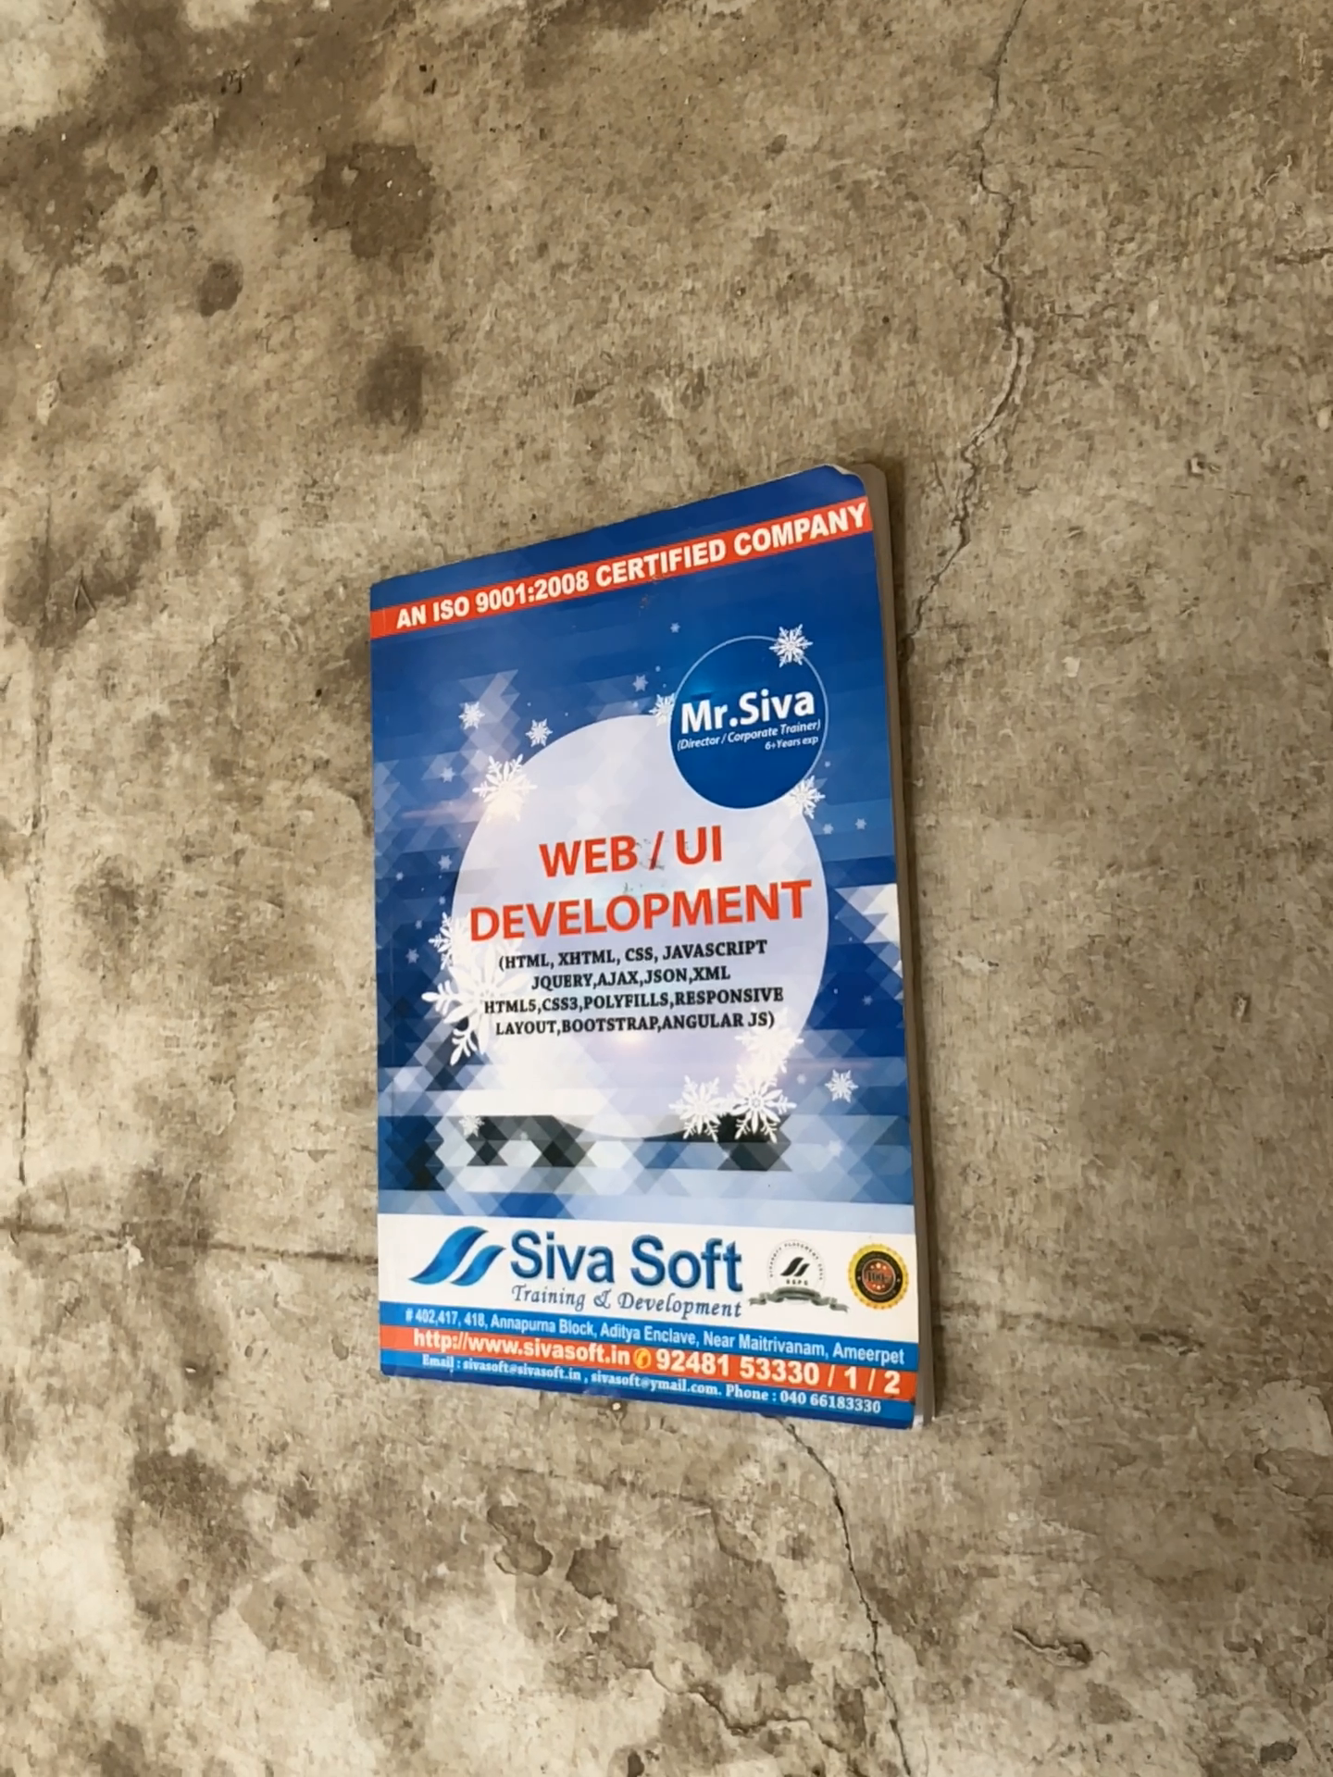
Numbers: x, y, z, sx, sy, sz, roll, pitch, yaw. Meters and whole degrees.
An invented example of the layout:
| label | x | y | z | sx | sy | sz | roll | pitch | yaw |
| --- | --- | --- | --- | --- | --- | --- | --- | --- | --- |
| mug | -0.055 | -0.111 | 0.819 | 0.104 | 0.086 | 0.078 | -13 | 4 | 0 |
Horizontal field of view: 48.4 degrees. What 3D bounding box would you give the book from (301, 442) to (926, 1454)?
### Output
| label | x | y | z | sx | sy | sz | roll | pitch | yaw |
| --- | --- | --- | --- | --- | --- | --- | --- | --- | --- |
| book | -0.028 | 0.021 | 0.476 | 0.211 | 0.030 | 0.280 | -5 | 84 | 31 |
